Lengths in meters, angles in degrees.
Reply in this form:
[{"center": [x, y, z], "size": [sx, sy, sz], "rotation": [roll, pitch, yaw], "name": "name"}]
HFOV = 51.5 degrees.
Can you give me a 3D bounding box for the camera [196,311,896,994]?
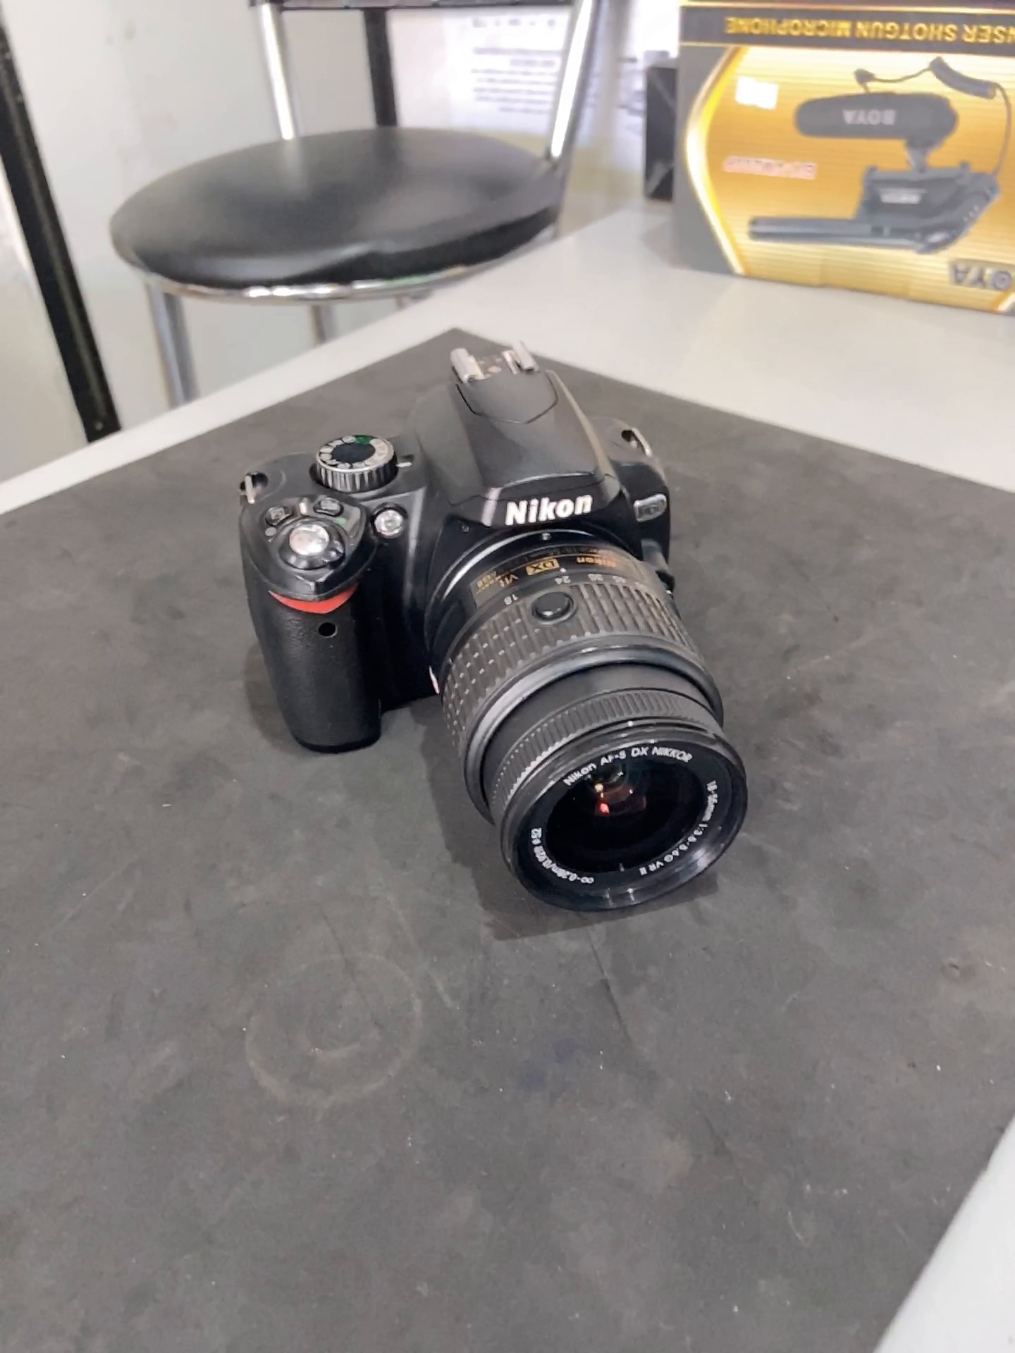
[{"center": [-0.002, -0.018, 0.276], "size": [0.129, 0.088, 0.141], "rotation": [-12, 41, -10], "name": "camera"}]
